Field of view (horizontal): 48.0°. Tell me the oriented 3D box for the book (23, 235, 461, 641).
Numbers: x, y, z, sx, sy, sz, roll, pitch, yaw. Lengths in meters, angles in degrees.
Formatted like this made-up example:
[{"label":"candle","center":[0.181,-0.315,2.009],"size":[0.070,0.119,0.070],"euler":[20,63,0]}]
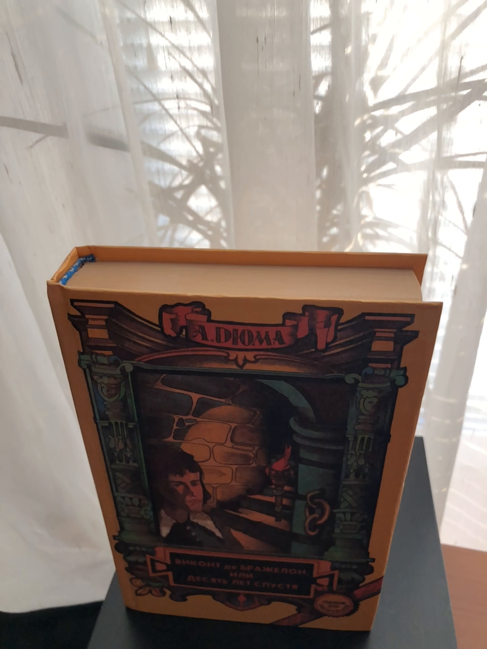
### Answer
[{"label":"book","center":[0.003,0.065,0.254],"size":[0.142,0.208,0.045],"euler":[2,35,7]}]
